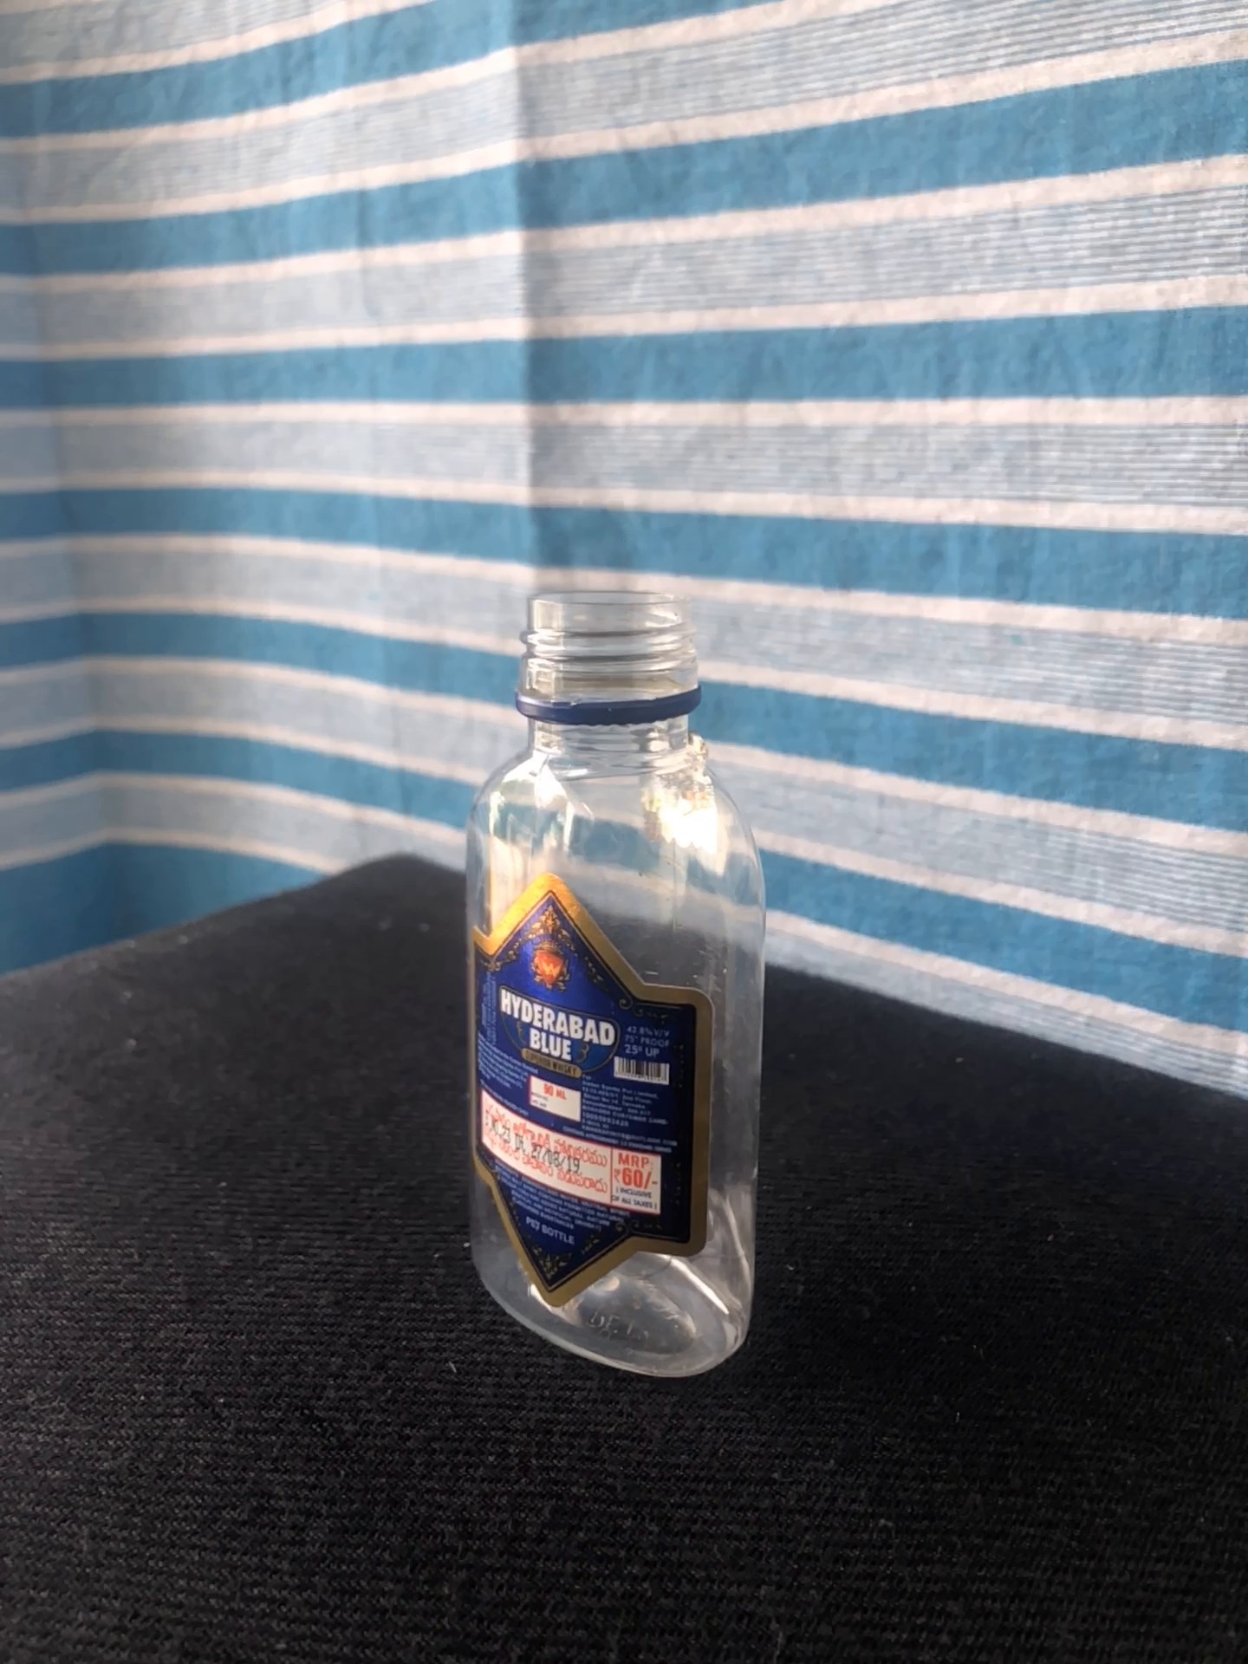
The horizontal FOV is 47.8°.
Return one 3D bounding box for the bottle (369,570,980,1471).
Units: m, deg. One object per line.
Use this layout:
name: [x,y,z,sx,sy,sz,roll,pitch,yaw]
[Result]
bottle: [0.007,0.019,0.195,0.060,0.100,0.050,14,23,38]
